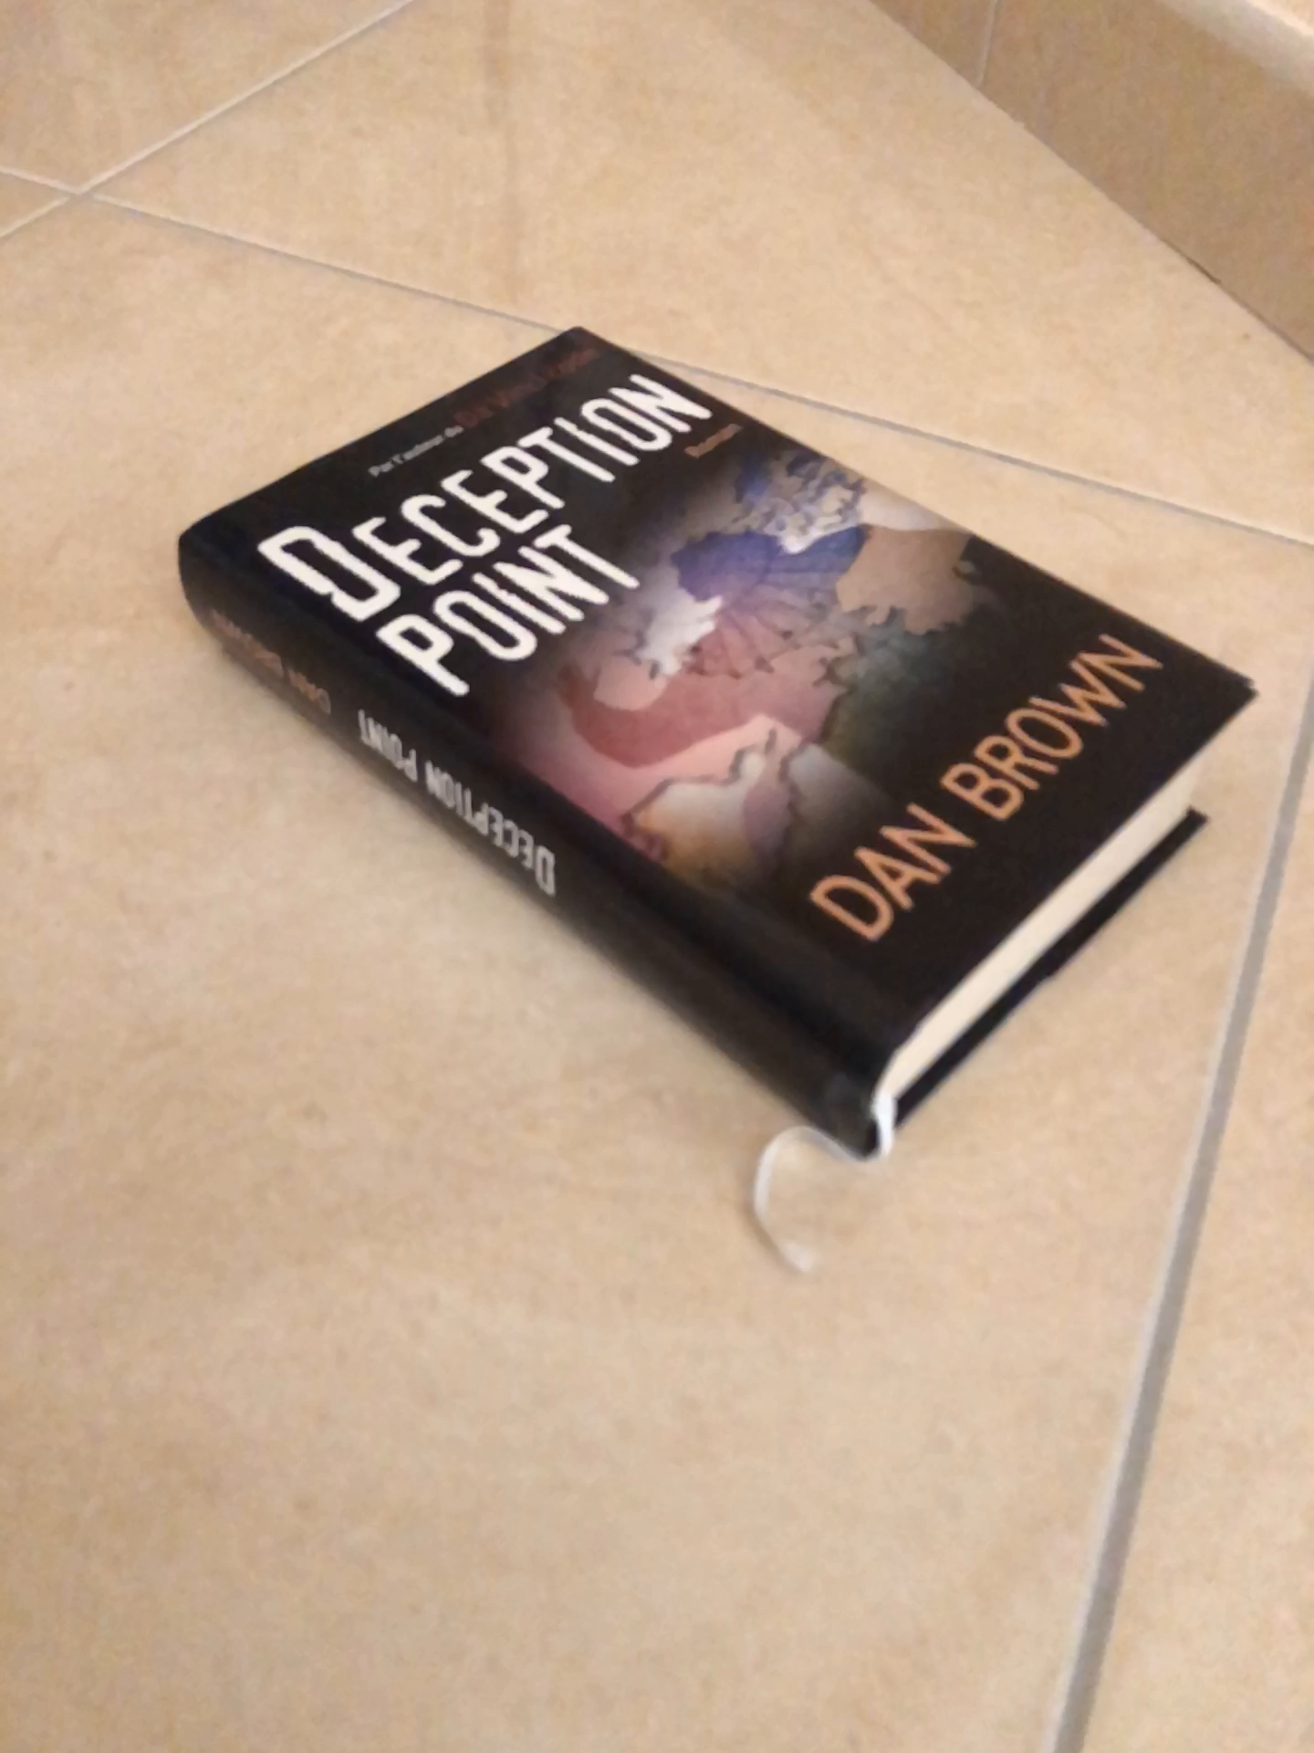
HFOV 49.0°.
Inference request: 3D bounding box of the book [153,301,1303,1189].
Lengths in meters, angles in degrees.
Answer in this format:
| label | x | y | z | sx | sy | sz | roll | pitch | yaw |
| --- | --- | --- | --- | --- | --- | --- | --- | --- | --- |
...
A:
| label | x | y | z | sx | sy | sz | roll | pitch | yaw |
| --- | --- | --- | --- | --- | --- | --- | --- | --- | --- |
| book | 0.010 | -0.050 | 0.326 | 0.212 | 0.037 | 0.137 | 36 | 58 | 26 |
